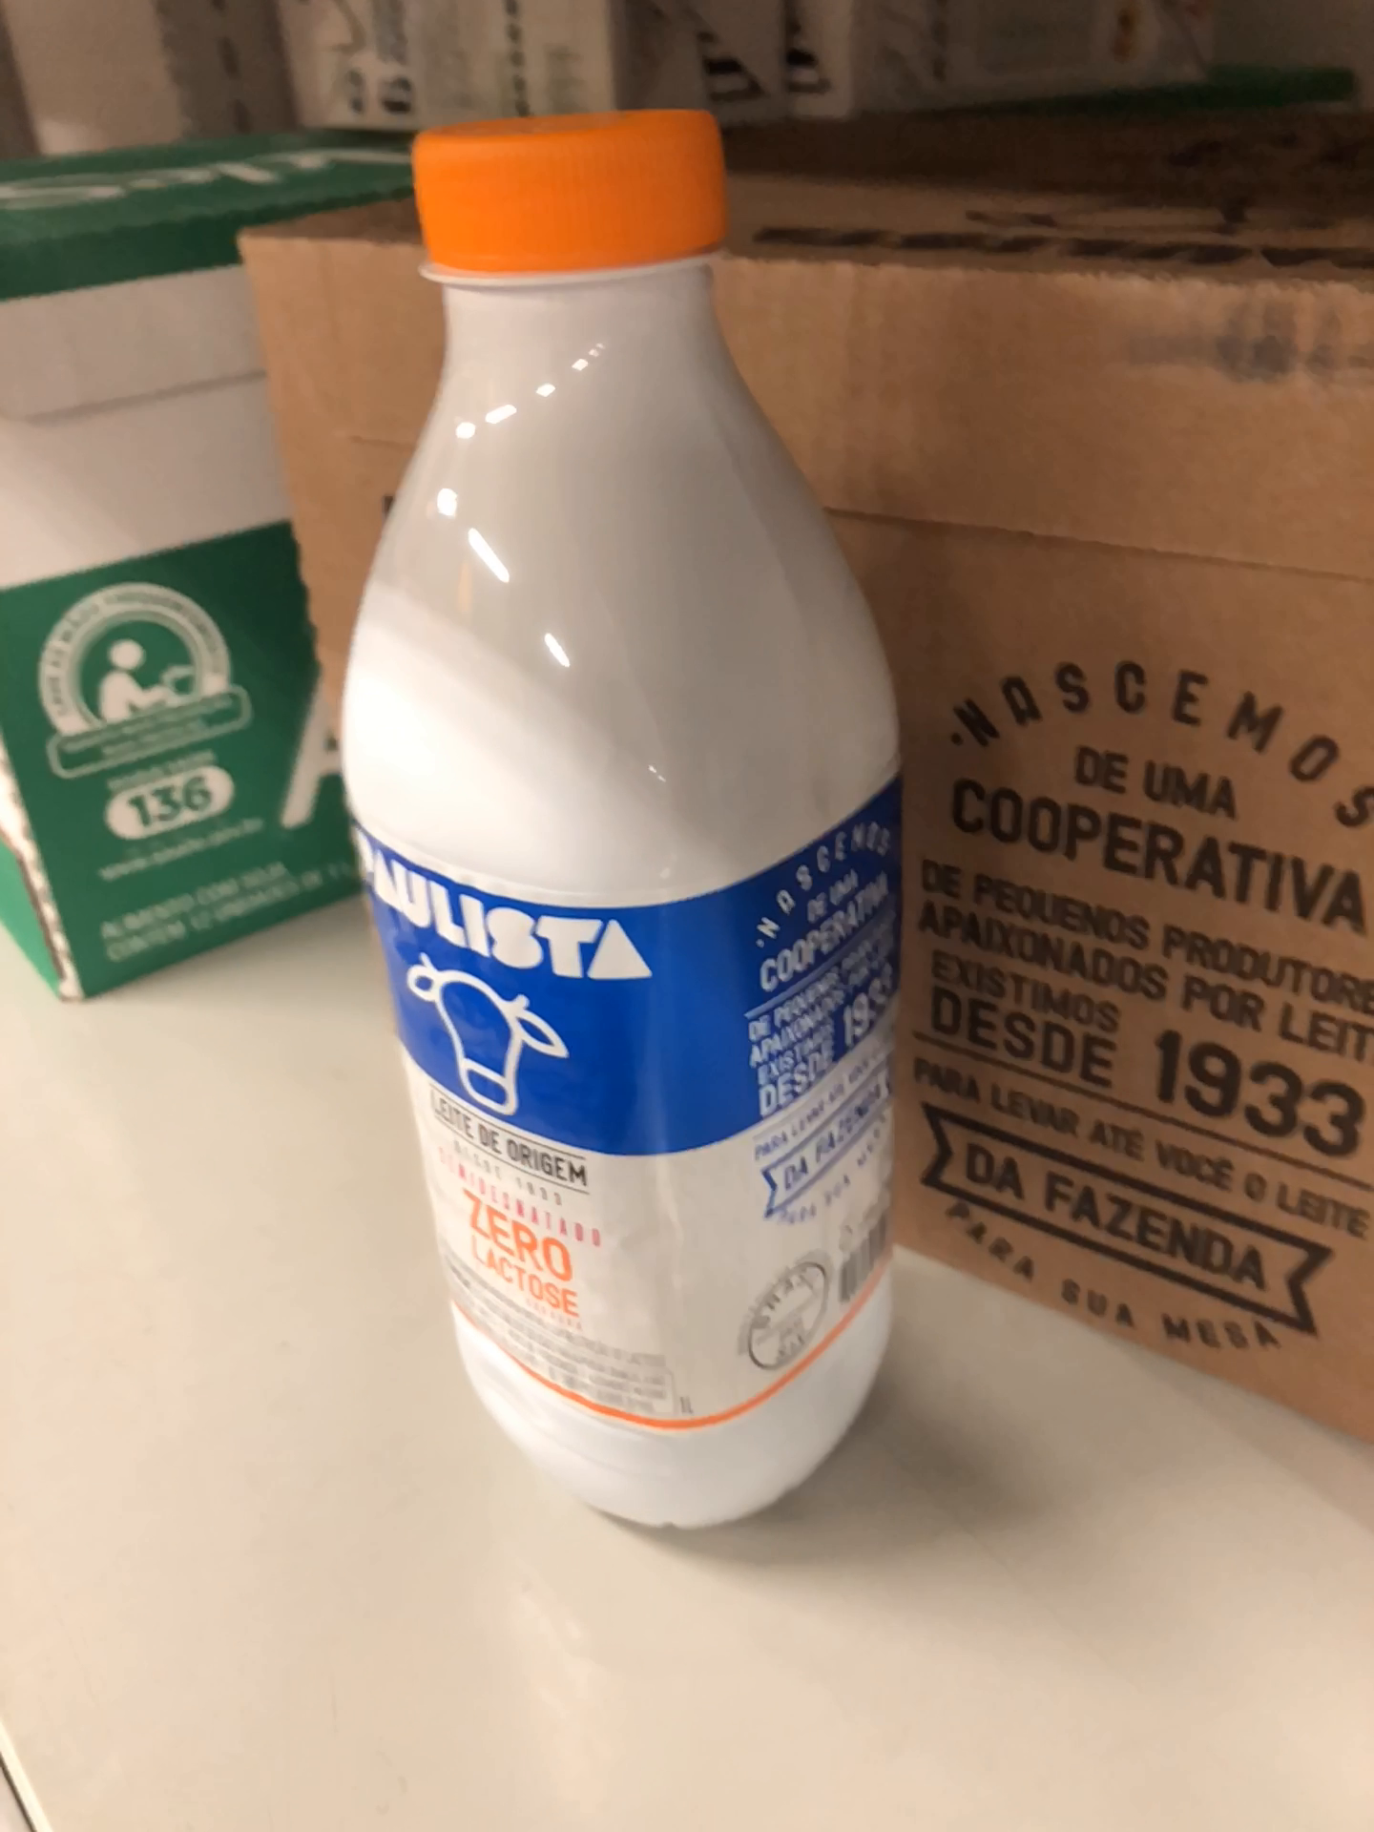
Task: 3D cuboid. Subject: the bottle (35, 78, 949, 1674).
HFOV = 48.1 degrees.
[{"bbox_3d":[-0.015,-0.001,0.248,0.080,0.228,0.080,-4,30,2],"label":"bottle"}]
